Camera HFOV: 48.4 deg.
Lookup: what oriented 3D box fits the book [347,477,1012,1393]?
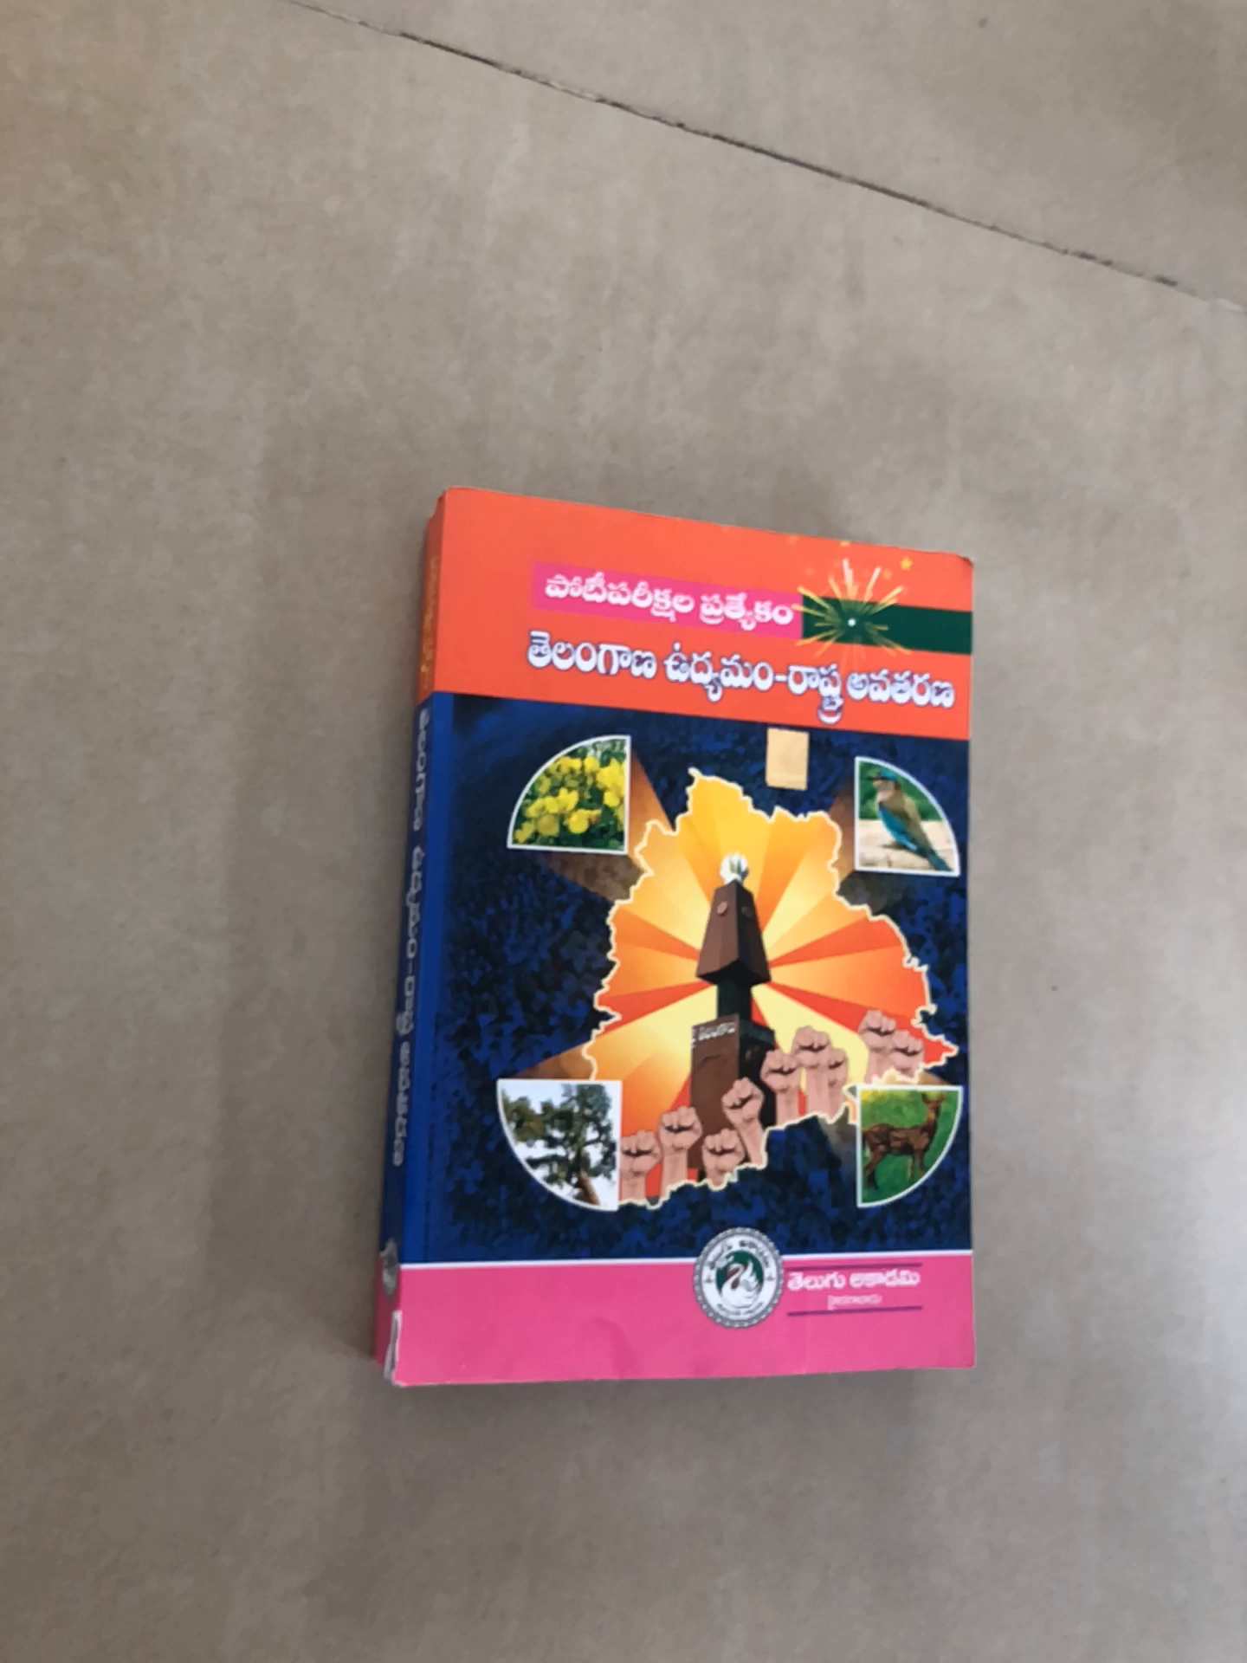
[{"bbox_3d":[0.022,0.032,0.447,0.202,0.040,0.265,4,80,-16],"label":"book"}]
